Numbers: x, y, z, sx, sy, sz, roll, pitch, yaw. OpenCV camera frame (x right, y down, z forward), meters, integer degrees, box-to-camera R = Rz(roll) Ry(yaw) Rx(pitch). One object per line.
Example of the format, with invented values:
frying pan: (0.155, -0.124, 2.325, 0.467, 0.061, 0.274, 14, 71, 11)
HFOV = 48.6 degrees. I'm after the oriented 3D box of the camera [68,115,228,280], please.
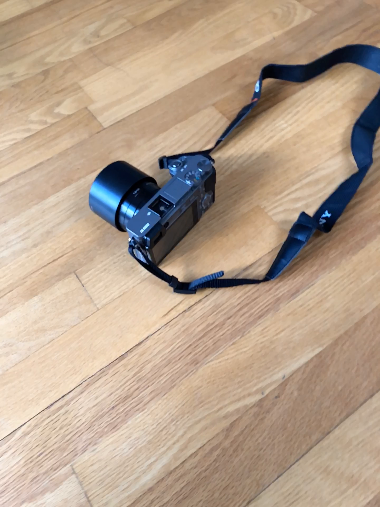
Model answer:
camera: (-0.041, -0.065, 0.478, 0.107, 0.079, 0.136, 33, 68, 19)
